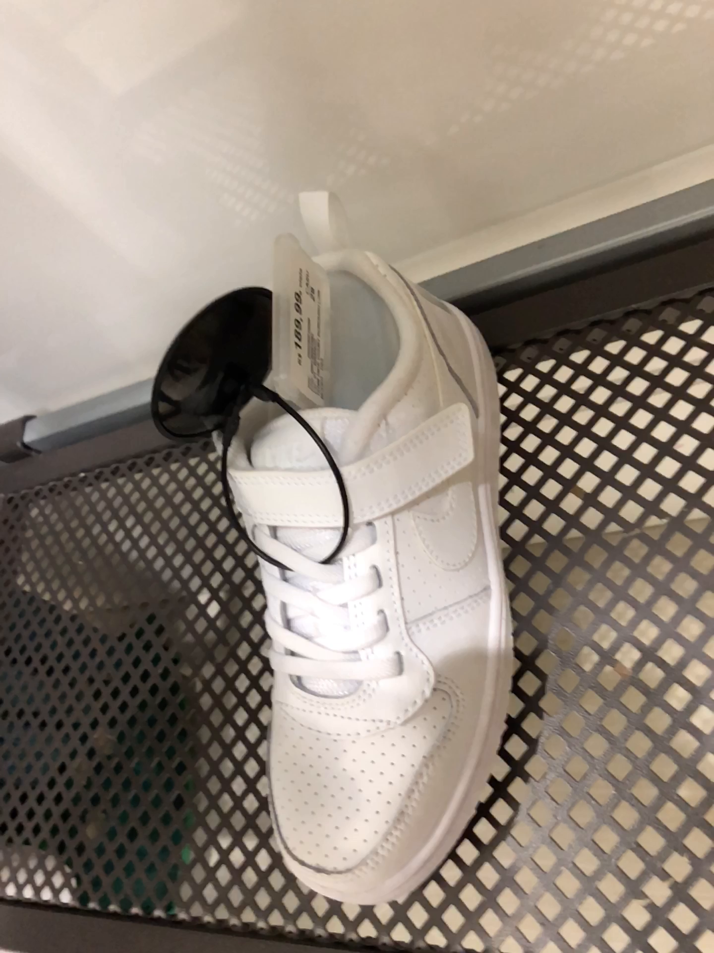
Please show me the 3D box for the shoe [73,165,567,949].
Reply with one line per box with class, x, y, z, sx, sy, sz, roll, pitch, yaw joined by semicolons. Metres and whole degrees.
shoe;0.003;0.024;0.255;0.080;0.099;0.200;-4;66;34
